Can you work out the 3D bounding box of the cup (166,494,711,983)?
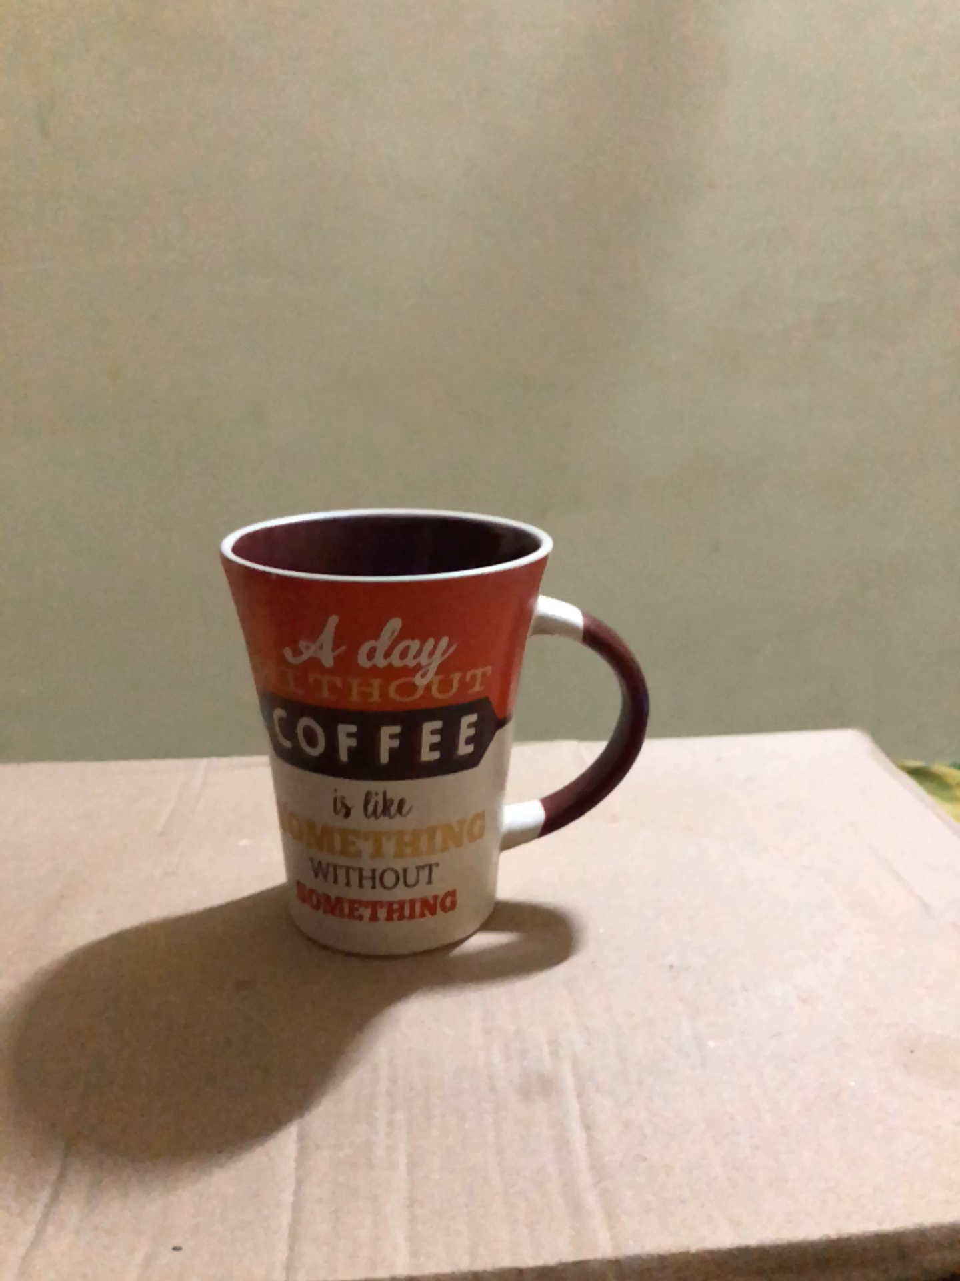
[{"bbox_3d":[-0.009,0.020,0.317,0.130,0.110,0.100,-3,14,-1],"label":"cup"}]
